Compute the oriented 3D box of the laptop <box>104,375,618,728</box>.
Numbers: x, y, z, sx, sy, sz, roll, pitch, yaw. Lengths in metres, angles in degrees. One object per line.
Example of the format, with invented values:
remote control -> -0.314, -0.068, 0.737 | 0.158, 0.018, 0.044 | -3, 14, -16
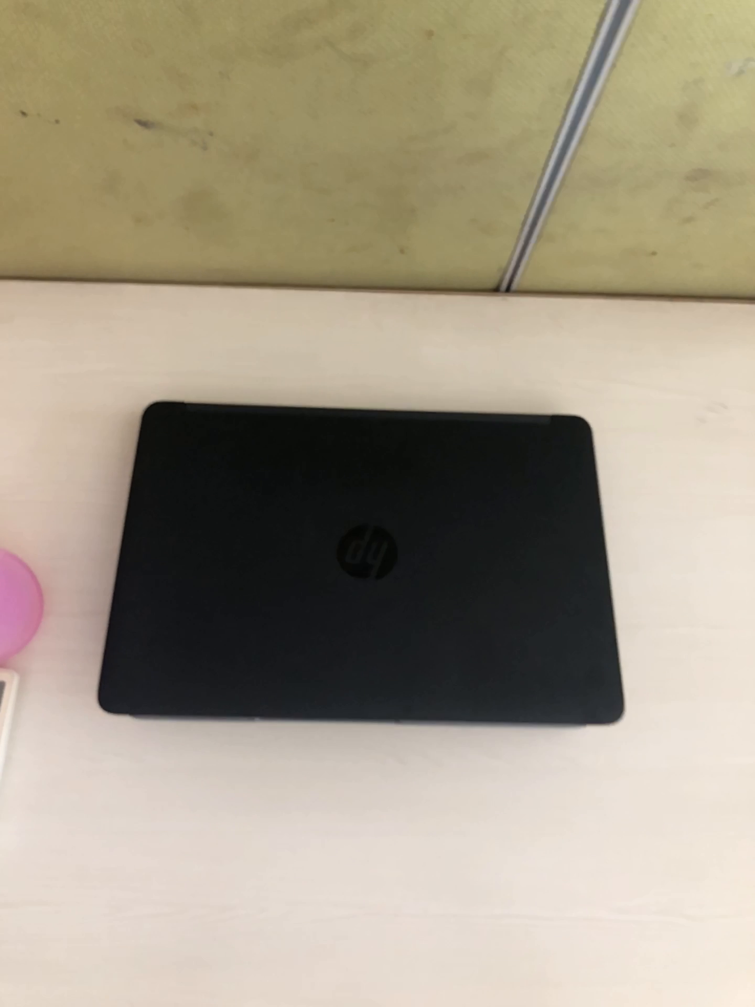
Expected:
laptop -> -0.004, 0.034, 0.585 | 0.330, 0.050, 0.226 | 3, 78, -1
